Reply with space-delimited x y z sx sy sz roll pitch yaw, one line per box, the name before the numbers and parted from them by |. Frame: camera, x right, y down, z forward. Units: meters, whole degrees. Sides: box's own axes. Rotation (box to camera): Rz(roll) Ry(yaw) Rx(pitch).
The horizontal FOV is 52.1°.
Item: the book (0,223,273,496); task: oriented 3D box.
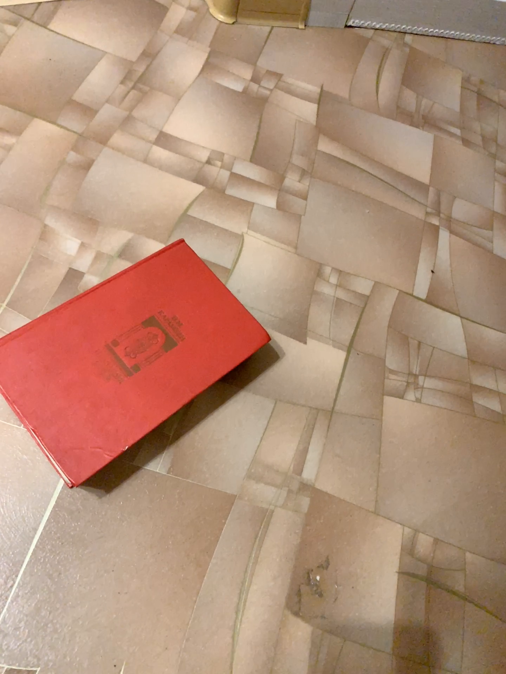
book | -0.107 0.008 0.437 0.201 0.050 0.140 -34 74 -26
